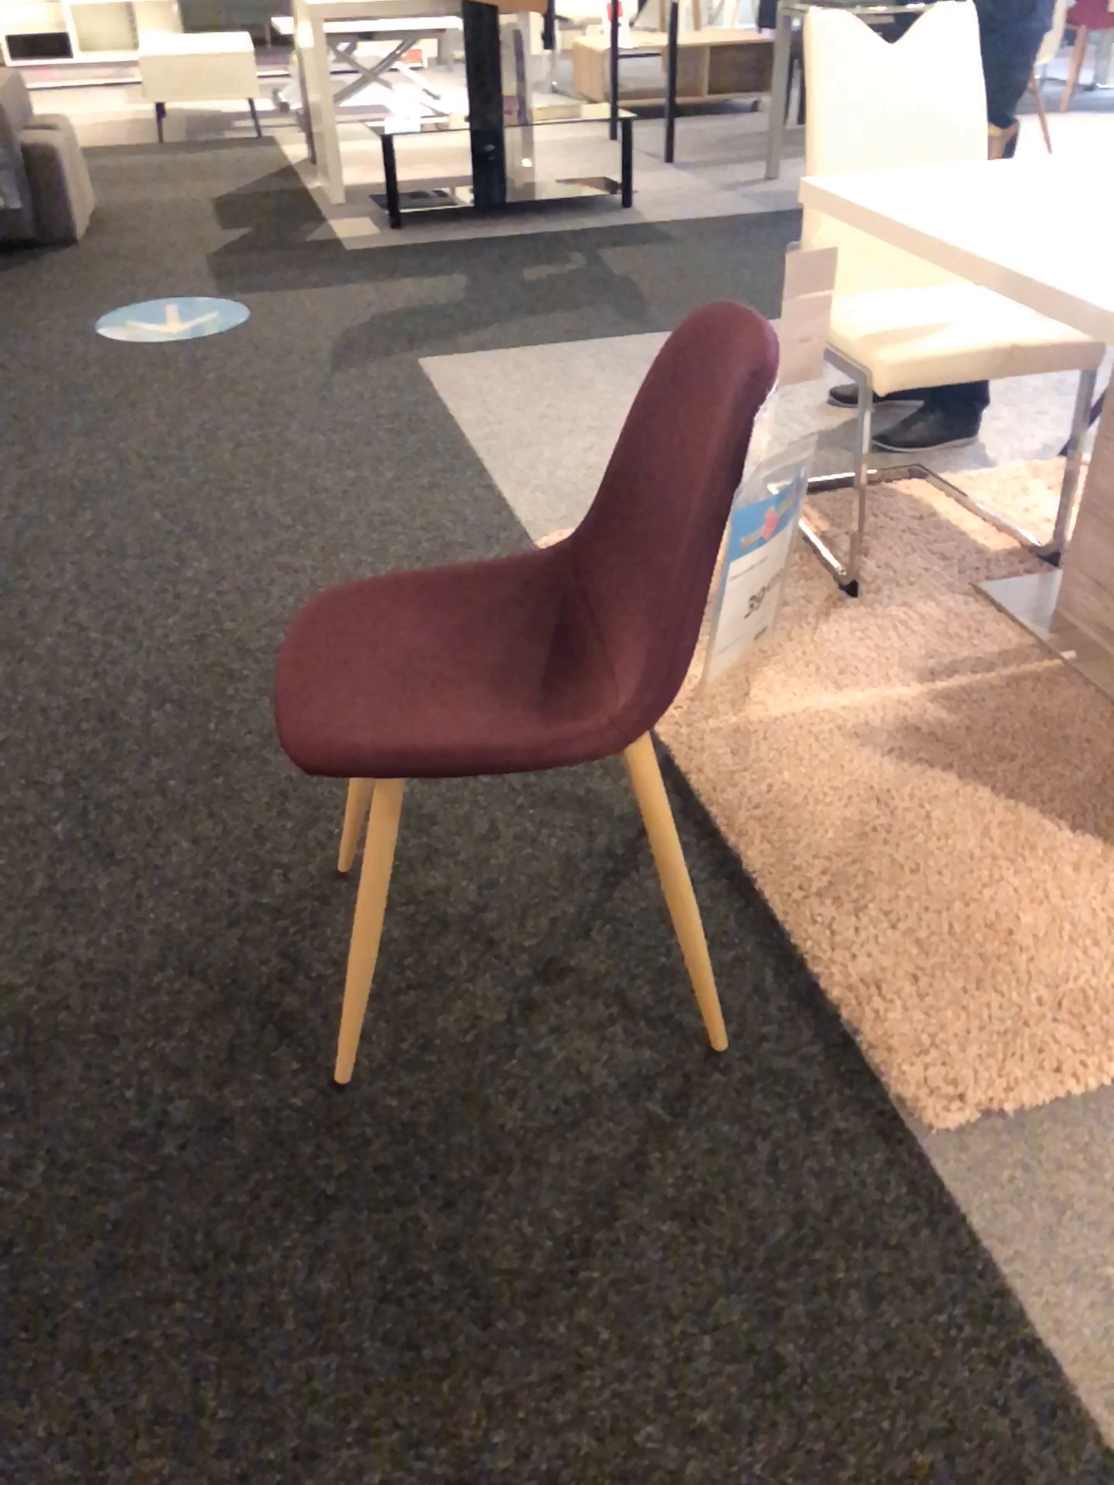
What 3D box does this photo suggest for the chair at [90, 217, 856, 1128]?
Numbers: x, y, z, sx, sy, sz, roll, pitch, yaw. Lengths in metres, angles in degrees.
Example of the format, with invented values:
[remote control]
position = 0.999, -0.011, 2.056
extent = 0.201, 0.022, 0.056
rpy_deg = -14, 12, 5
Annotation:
[chair]
position = -0.088, -0.081, 1.310
extent = 0.570, 0.795, 0.472
rpy_deg = -7, 34, -9
